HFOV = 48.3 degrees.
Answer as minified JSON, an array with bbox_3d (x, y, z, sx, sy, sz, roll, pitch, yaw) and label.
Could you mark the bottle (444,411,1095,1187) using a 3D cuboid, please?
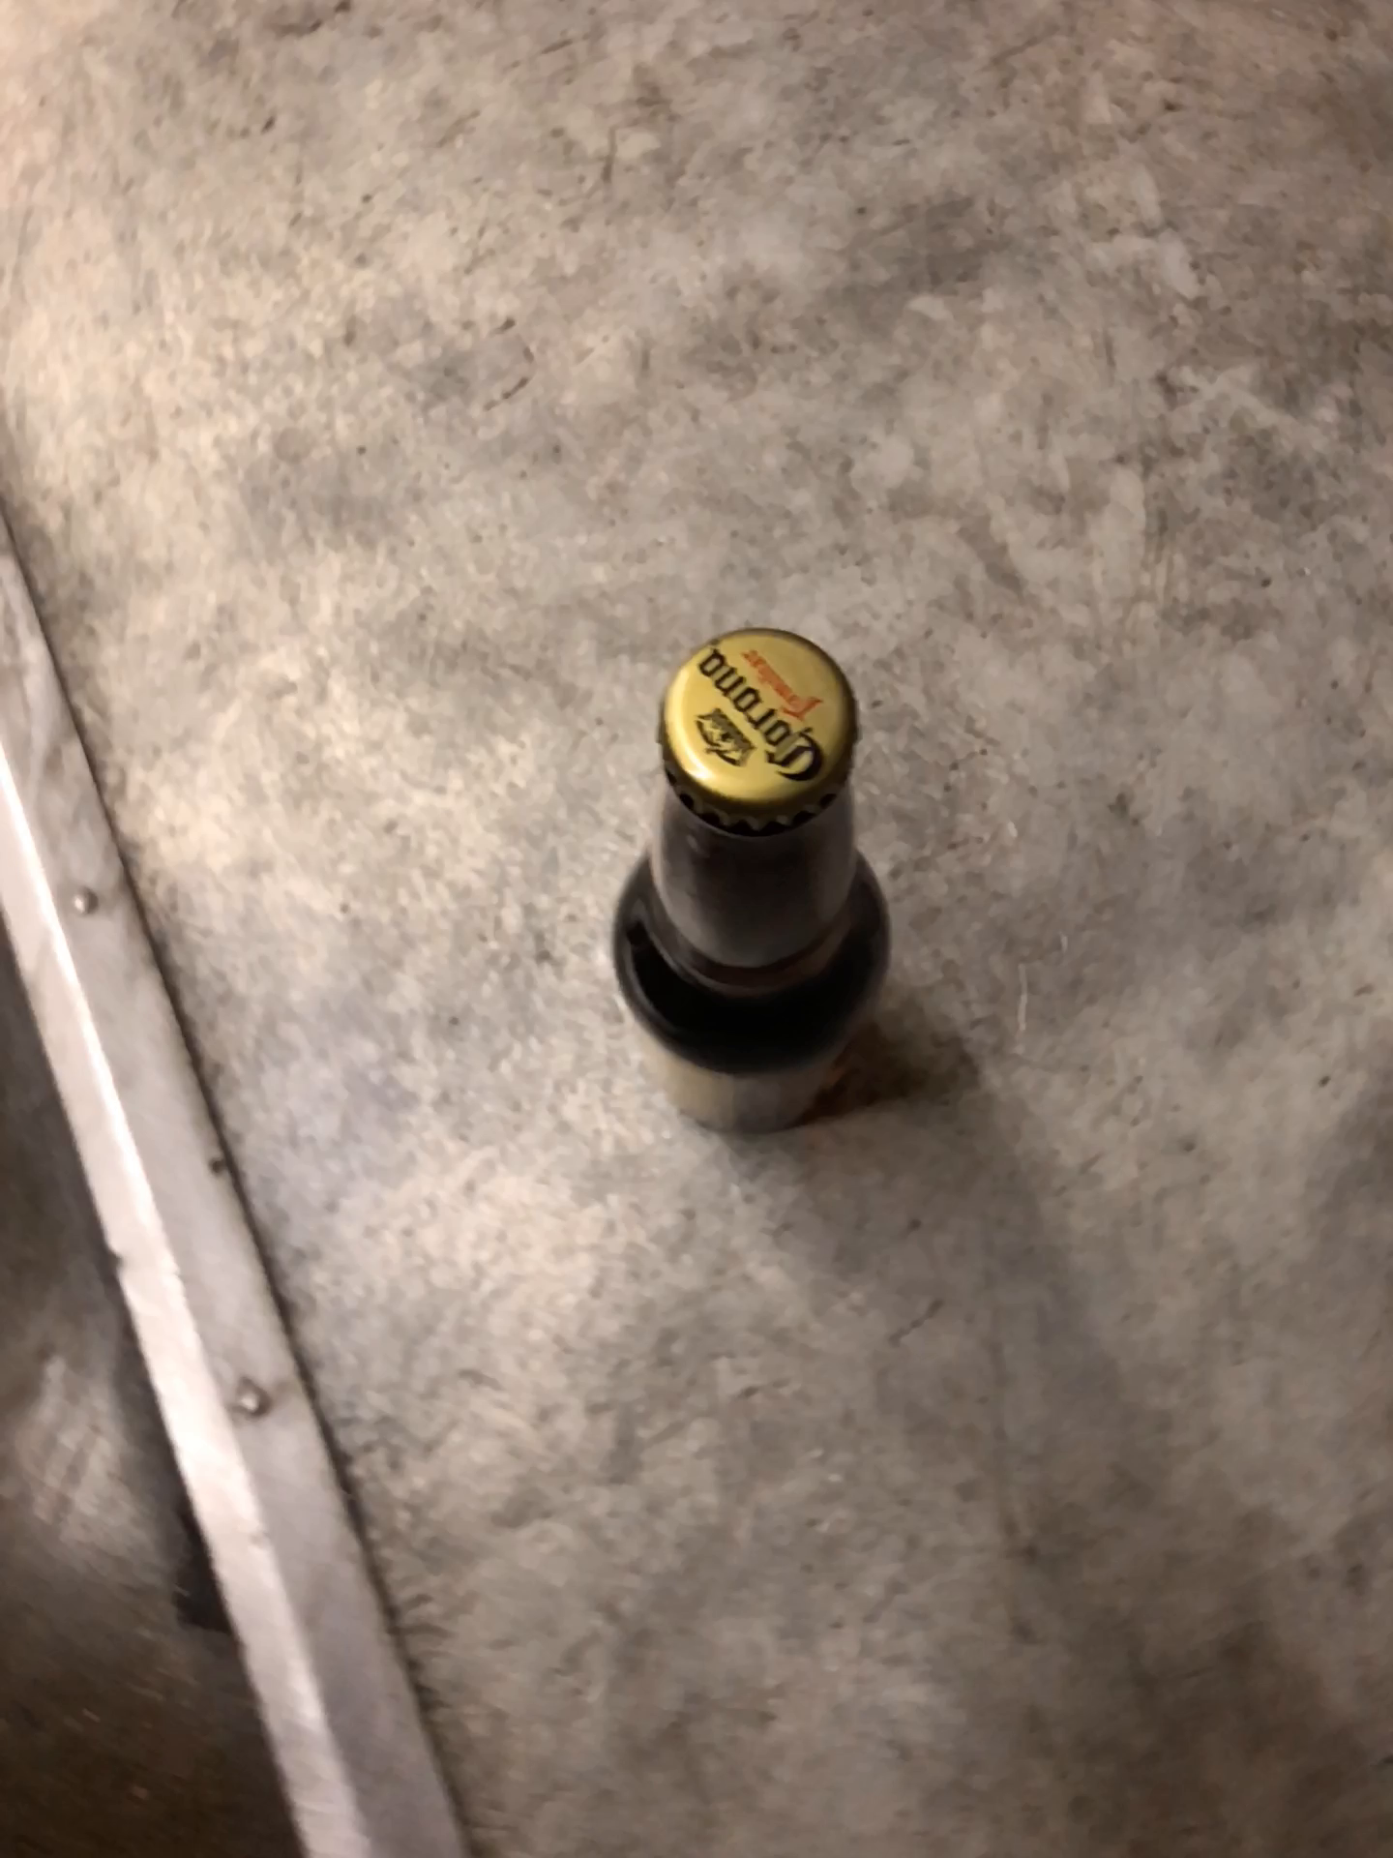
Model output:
[{"bbox_3d":[0.010,0.000,0.288,0.070,0.217,0.070,0,76,2],"label":"bottle"}]
